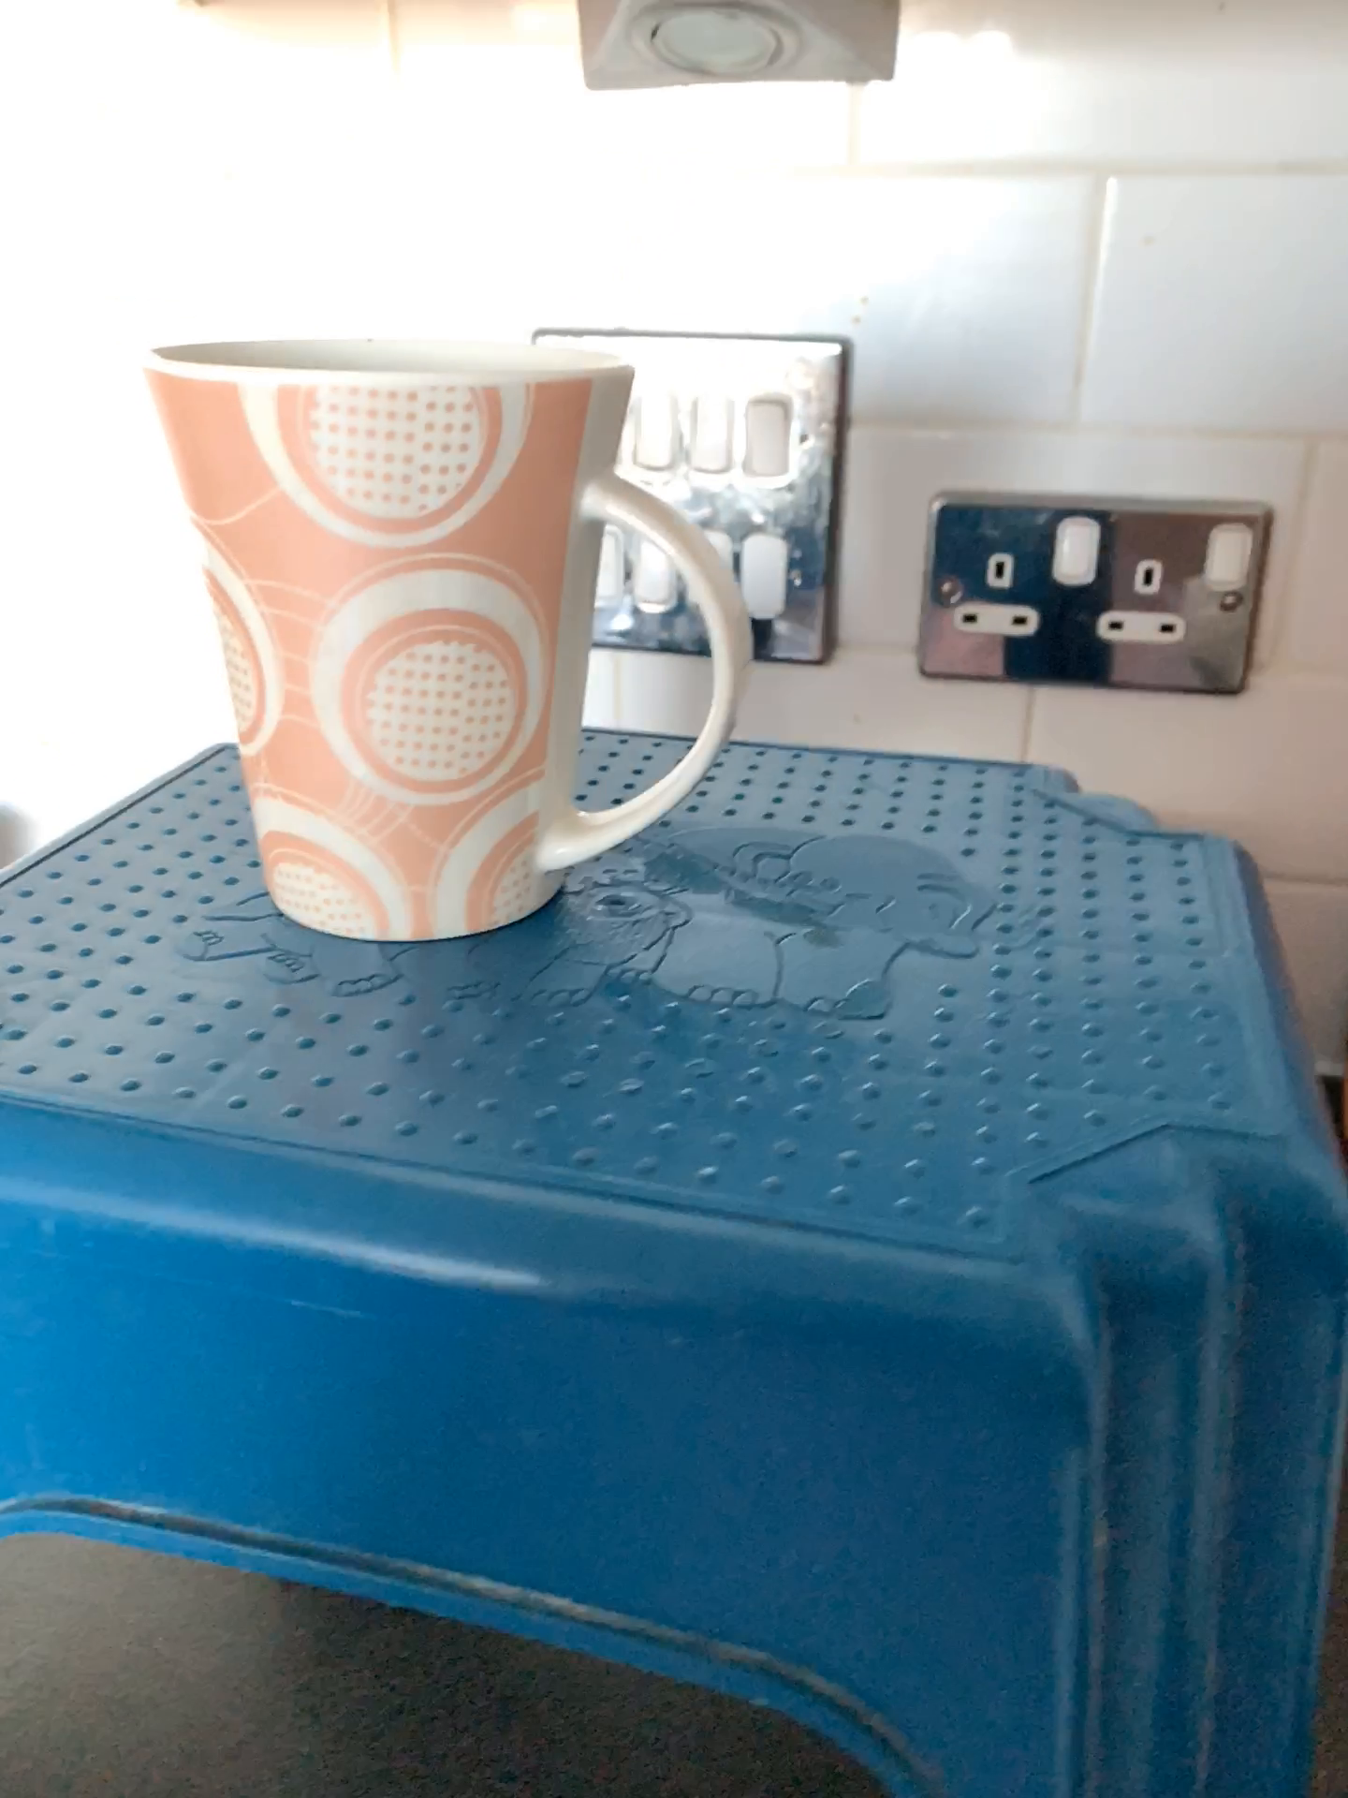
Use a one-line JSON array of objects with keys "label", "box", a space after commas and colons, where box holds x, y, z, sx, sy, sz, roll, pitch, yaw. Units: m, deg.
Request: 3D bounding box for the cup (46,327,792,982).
[{"label": "cup", "box": [-0.042, -0.055, 0.282, 0.116, 0.105, 0.078, 6, 25, 12]}]
